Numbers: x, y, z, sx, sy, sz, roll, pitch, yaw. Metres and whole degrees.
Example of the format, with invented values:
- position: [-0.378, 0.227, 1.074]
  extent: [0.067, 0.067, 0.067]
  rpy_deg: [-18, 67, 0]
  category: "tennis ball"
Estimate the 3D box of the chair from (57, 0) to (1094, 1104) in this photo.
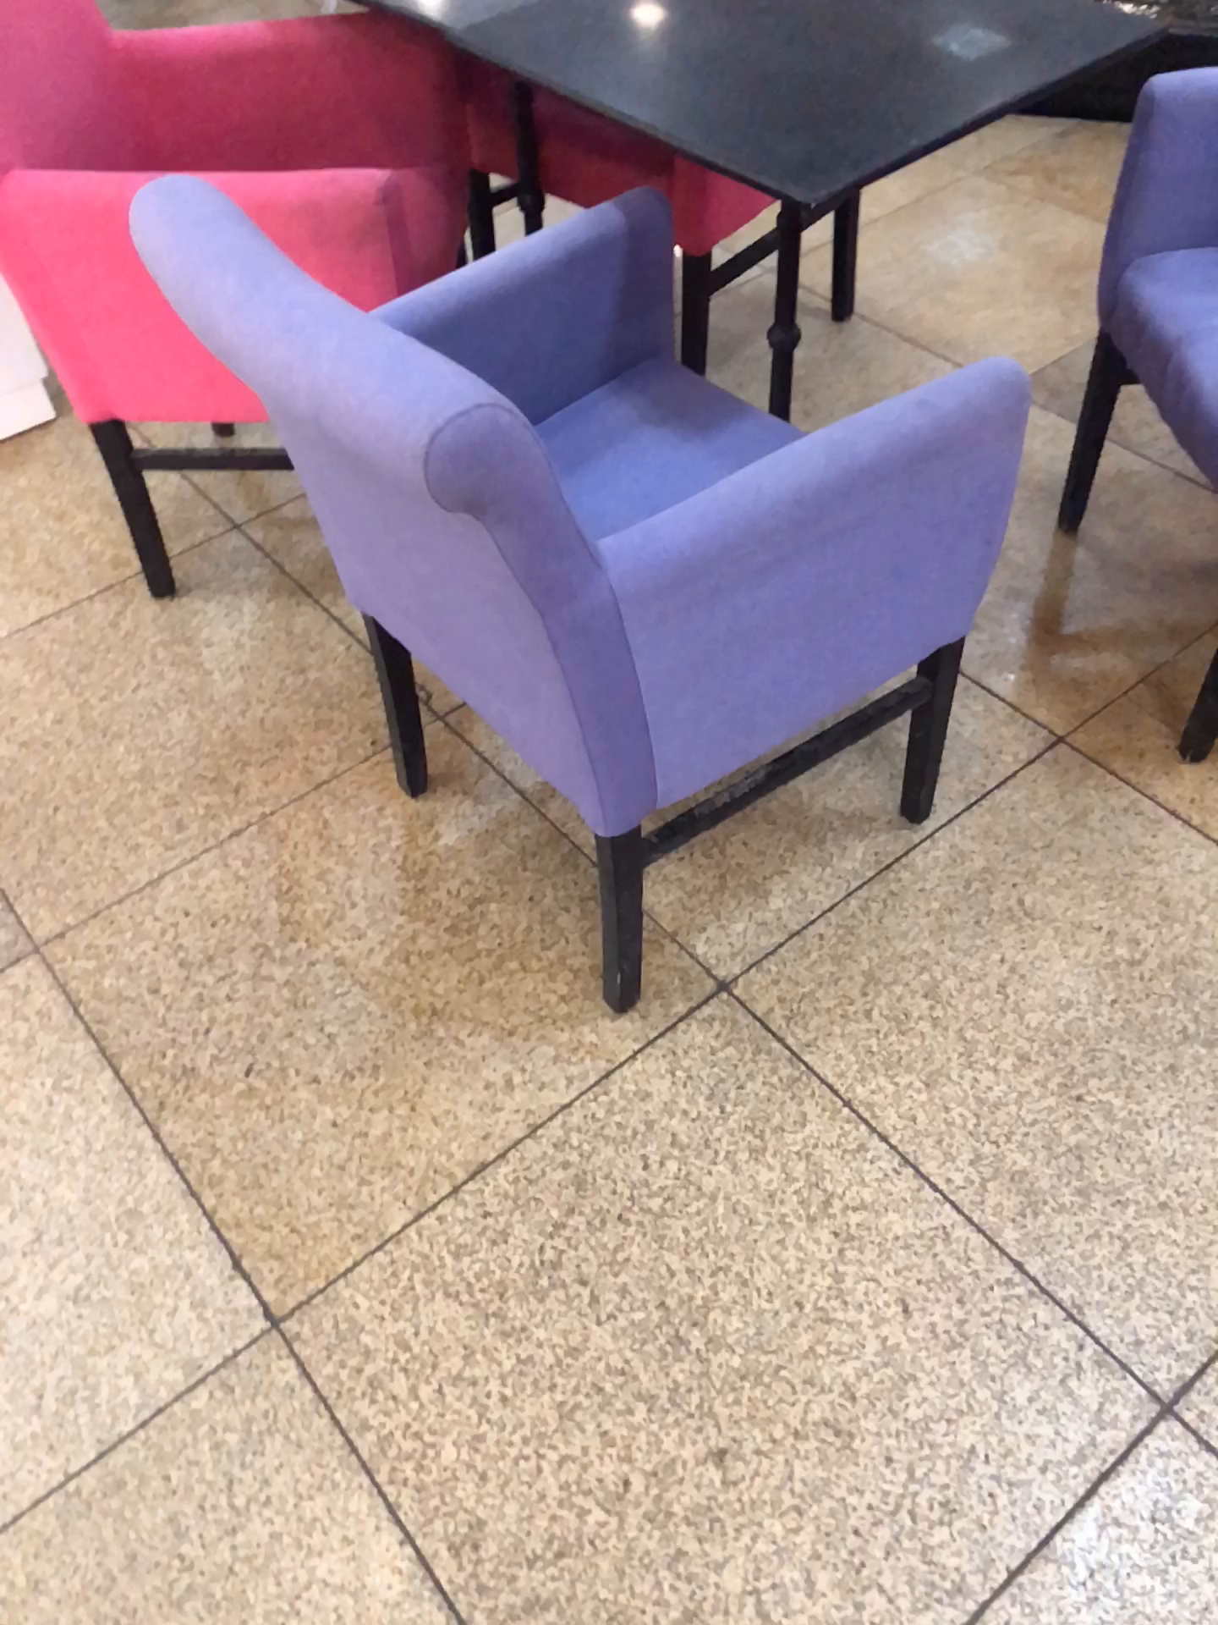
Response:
- position: [-0.021, -0.277, 1.418]
  extent: [0.661, 0.817, 0.571]
  rpy_deg: [-31, 53, -21]
  category: "chair"
